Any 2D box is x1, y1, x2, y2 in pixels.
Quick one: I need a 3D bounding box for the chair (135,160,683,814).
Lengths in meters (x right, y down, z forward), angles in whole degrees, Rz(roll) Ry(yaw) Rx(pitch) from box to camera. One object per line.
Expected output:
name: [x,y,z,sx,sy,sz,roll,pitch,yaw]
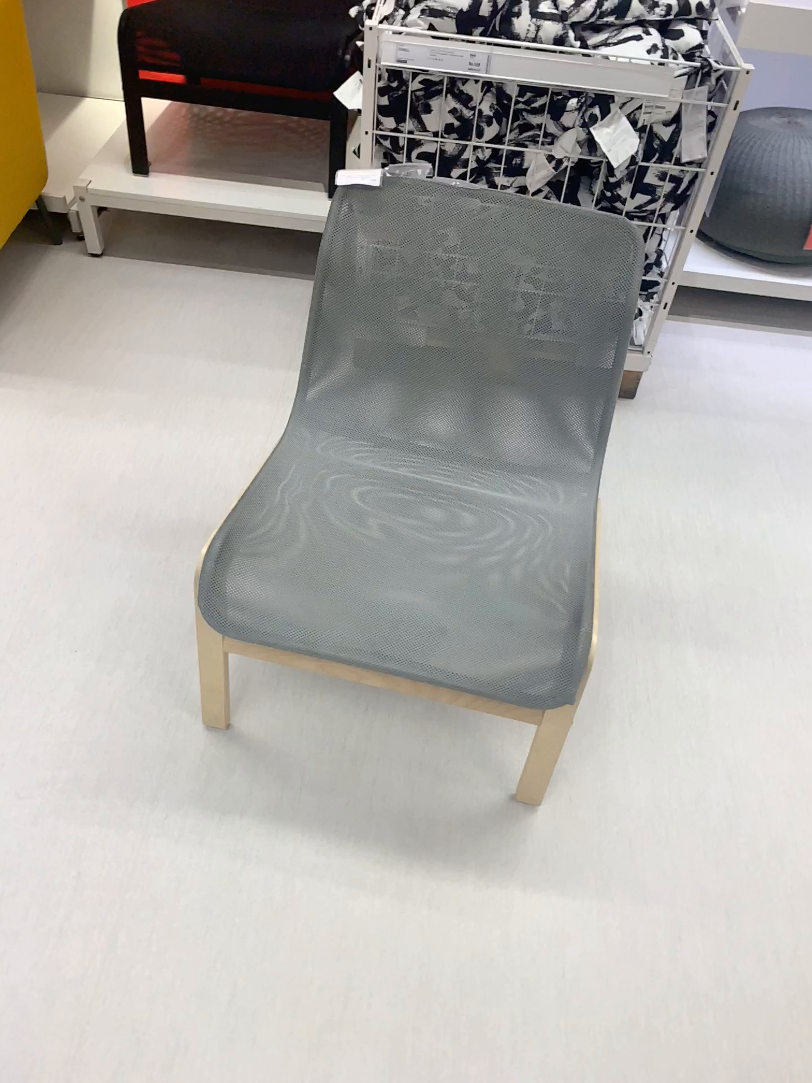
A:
chair: [0.050,-0.103,1.431,0.630,0.698,0.753,13,48,5]
